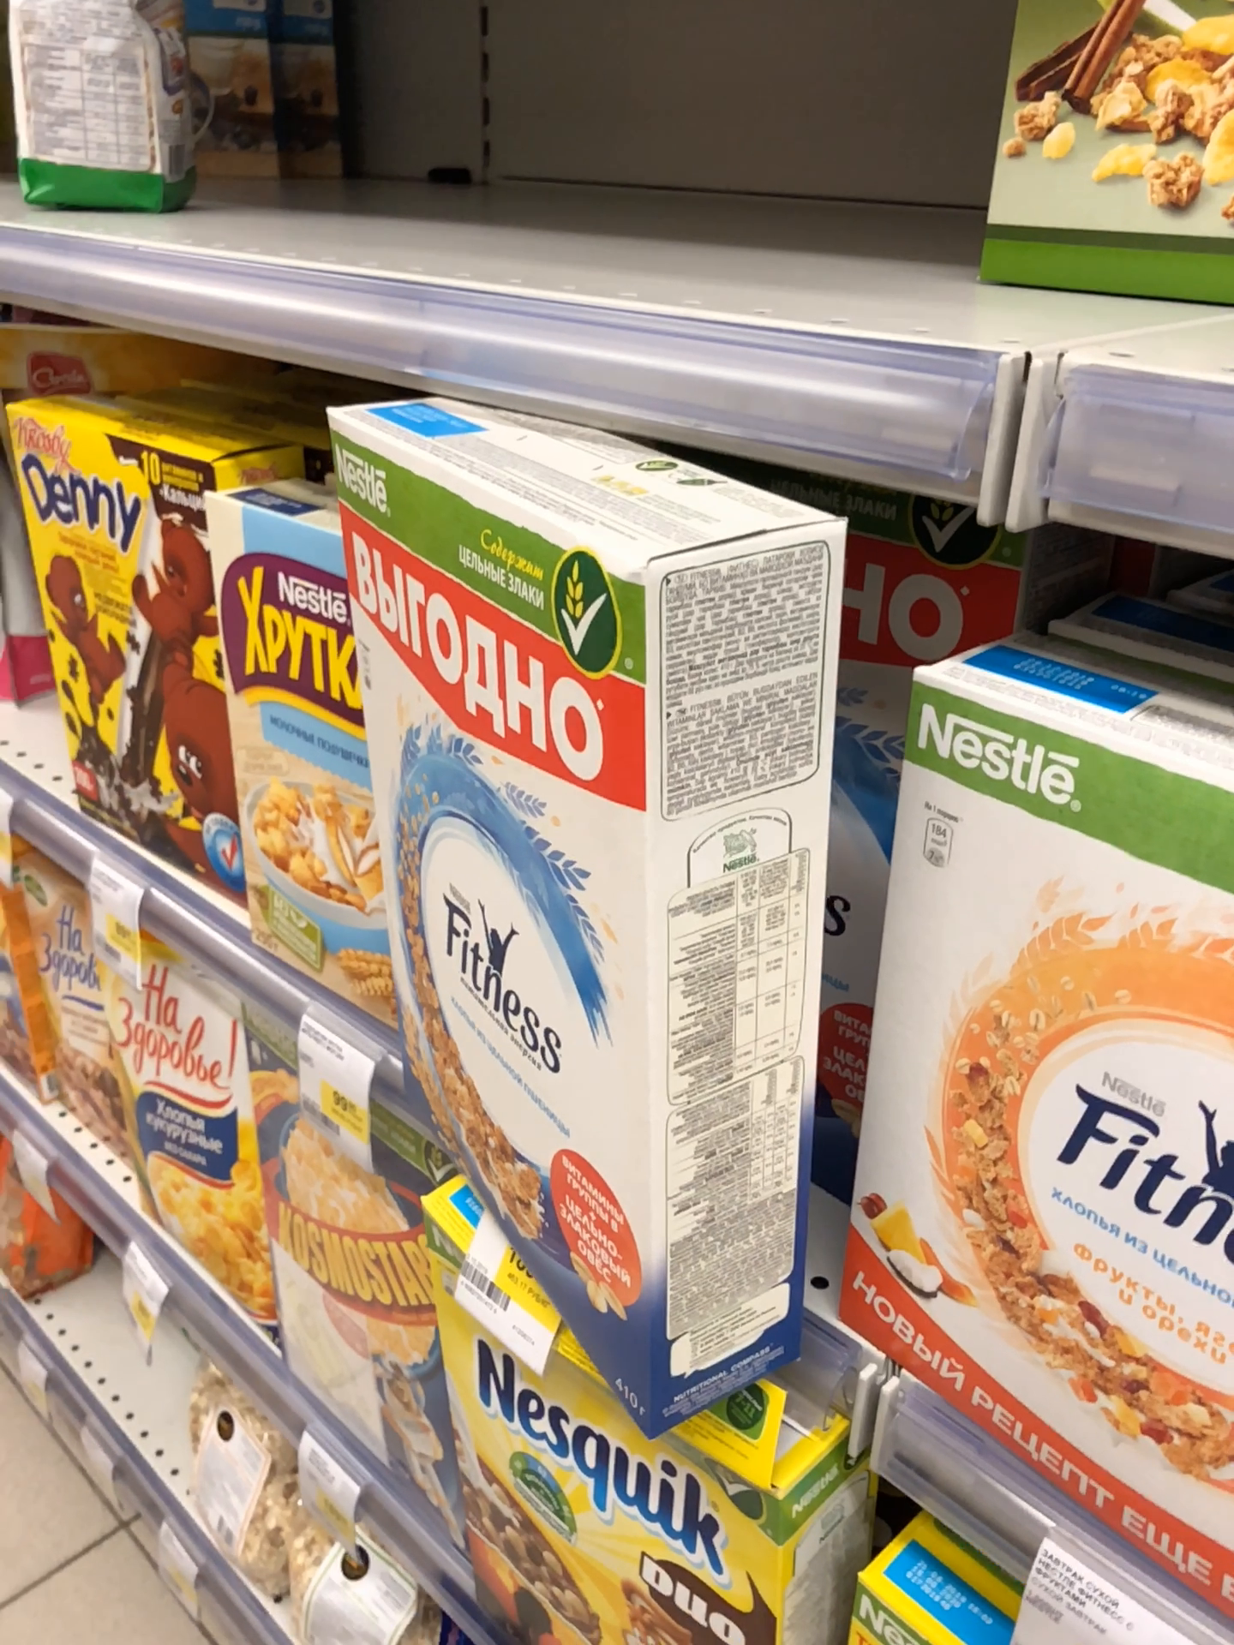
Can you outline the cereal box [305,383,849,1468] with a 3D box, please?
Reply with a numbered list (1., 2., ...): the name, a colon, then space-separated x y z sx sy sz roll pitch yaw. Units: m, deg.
1. cereal box: -0.020 0.025 0.444 0.060 0.288 0.201 -17 32 -26
